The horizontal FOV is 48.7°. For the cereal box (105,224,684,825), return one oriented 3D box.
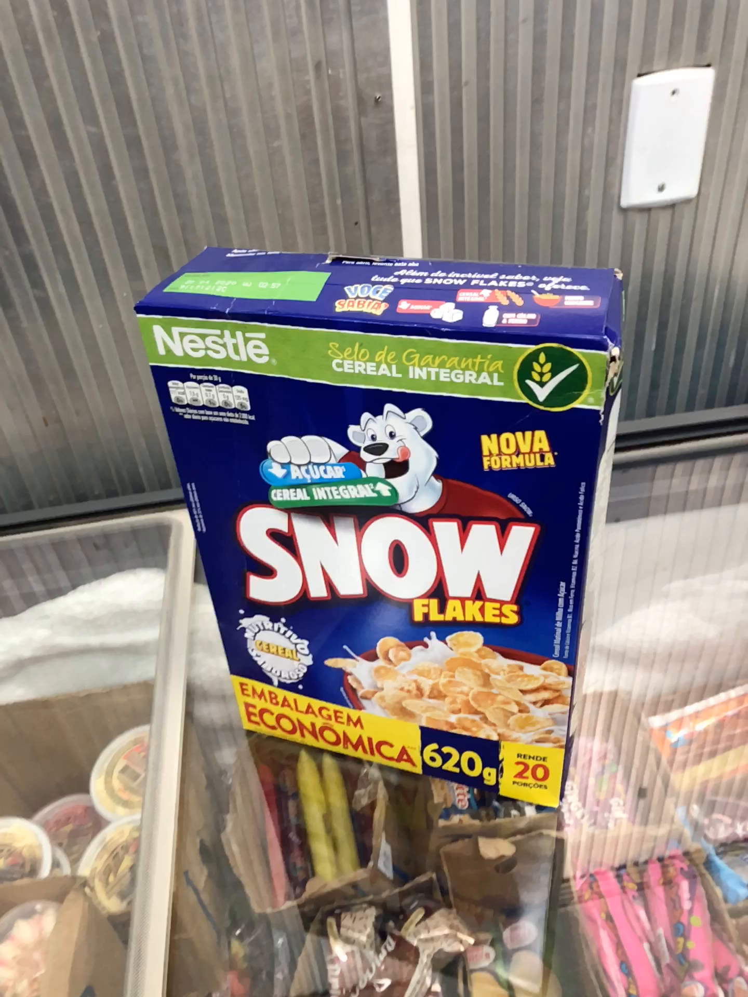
[{"bbox_3d":[0.017,0.026,0.437,0.230,0.308,0.070,10,41,19],"label":"cereal box"}]
